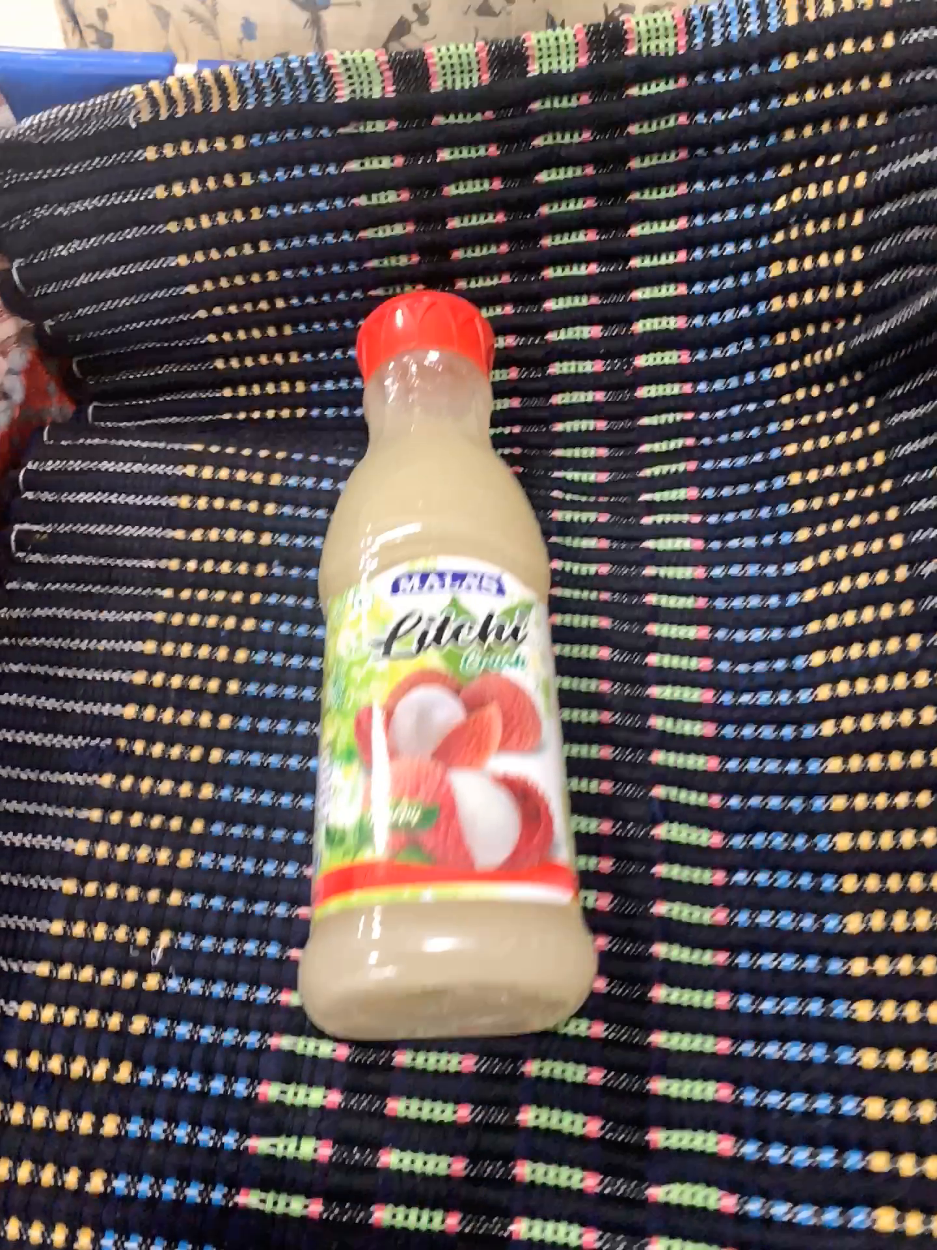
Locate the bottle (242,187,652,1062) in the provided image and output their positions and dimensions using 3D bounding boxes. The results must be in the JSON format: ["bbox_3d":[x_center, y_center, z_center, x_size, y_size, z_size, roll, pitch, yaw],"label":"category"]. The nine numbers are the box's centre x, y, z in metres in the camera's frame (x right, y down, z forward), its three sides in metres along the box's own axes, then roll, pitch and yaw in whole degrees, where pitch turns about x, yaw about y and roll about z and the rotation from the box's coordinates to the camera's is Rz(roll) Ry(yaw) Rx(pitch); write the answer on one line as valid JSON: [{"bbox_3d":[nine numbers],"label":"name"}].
[{"bbox_3d":[-0.011,-0.017,0.293,0.080,0.080,0.261,-1,57,-3],"label":"bottle"}]
